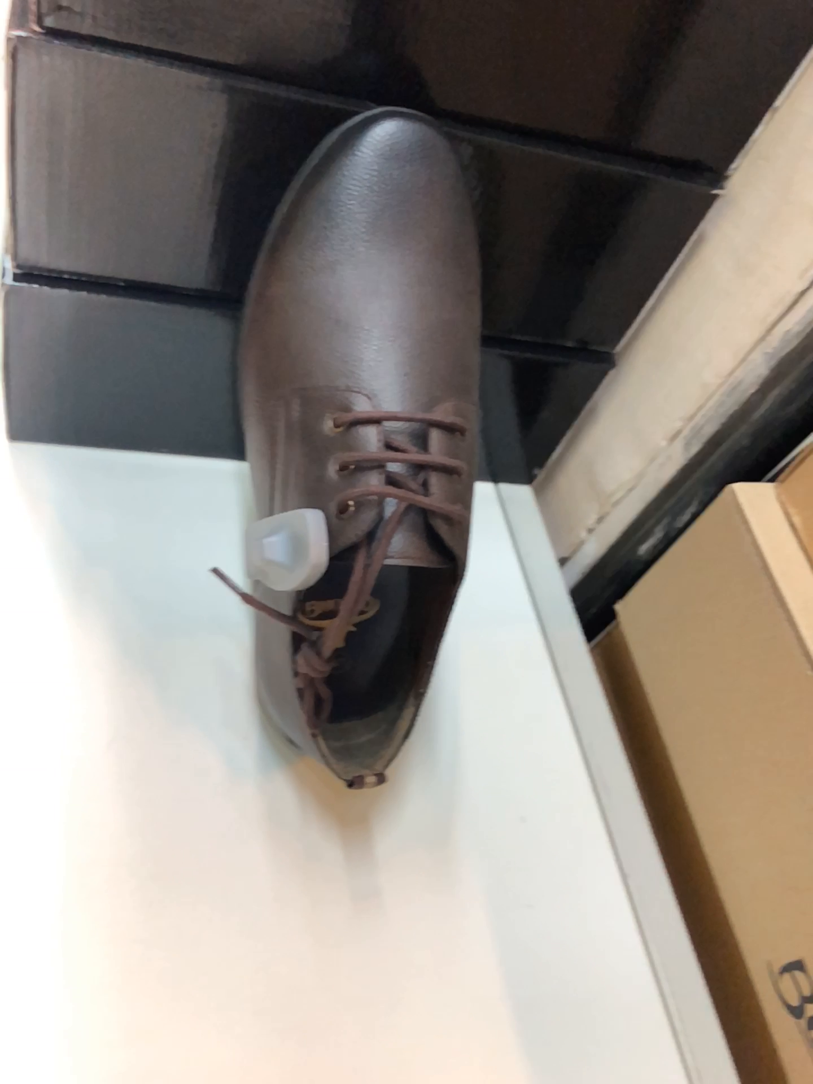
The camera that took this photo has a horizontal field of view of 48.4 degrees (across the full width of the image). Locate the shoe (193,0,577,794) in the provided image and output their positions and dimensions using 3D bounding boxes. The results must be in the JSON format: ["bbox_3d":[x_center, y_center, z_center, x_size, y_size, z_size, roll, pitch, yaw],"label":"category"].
[{"bbox_3d":[-0.023,-0.052,0.369,0.111,0.271,0.116,3,11,-15],"label":"shoe"}]
